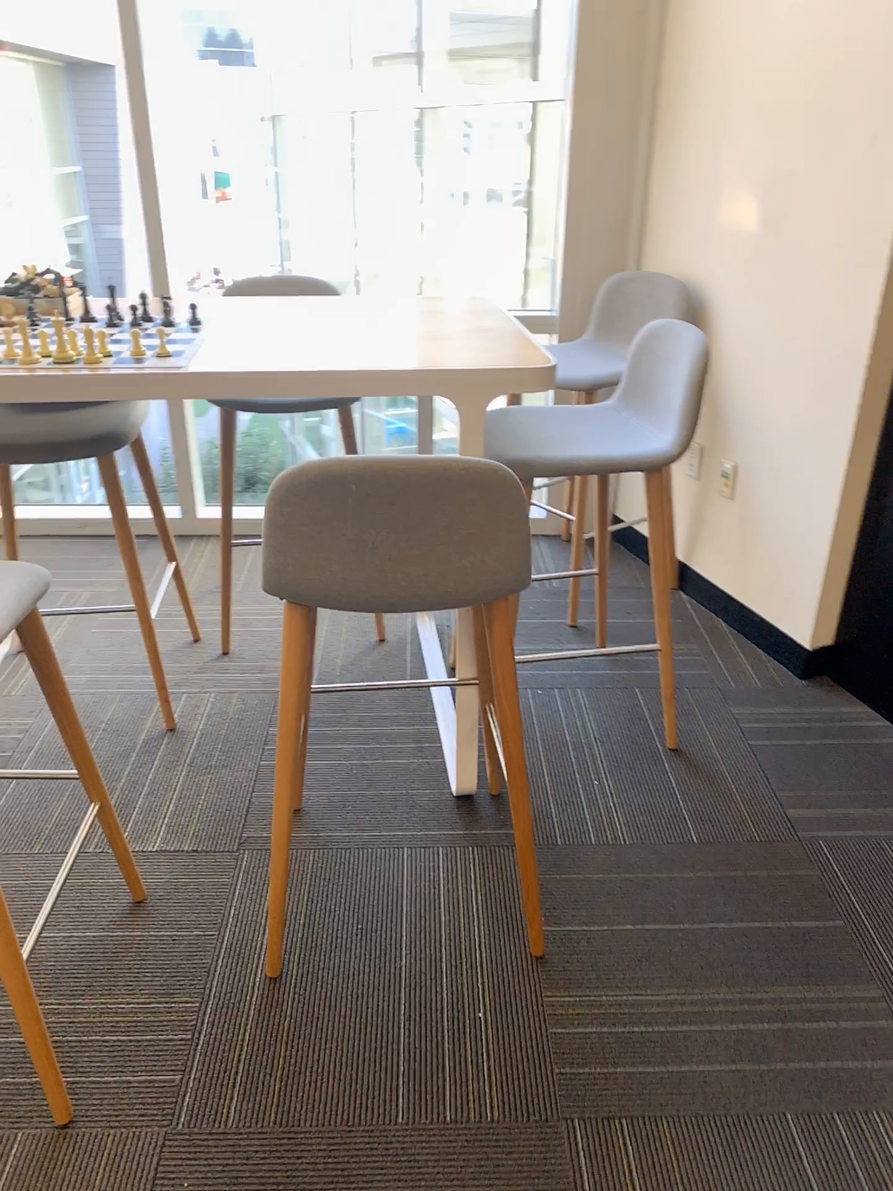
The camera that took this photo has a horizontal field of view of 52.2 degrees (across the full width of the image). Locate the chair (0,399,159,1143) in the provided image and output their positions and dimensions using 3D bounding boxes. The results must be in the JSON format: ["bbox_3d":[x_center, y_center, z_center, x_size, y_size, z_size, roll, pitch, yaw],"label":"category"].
[{"bbox_3d":[-0.843,0.246,1.363,0.550,0.935,0.553,1,26,0],"label":"chair"}]

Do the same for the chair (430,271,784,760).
[{"bbox_3d":[0.300,-0.243,2.302,0.620,0.994,0.785,-2,27,-5],"label":"chair"}]

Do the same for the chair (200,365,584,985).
[{"bbox_3d":[-0.100,0.122,1.641,0.500,0.935,0.553,-2,27,-6],"label":"chair"}]
